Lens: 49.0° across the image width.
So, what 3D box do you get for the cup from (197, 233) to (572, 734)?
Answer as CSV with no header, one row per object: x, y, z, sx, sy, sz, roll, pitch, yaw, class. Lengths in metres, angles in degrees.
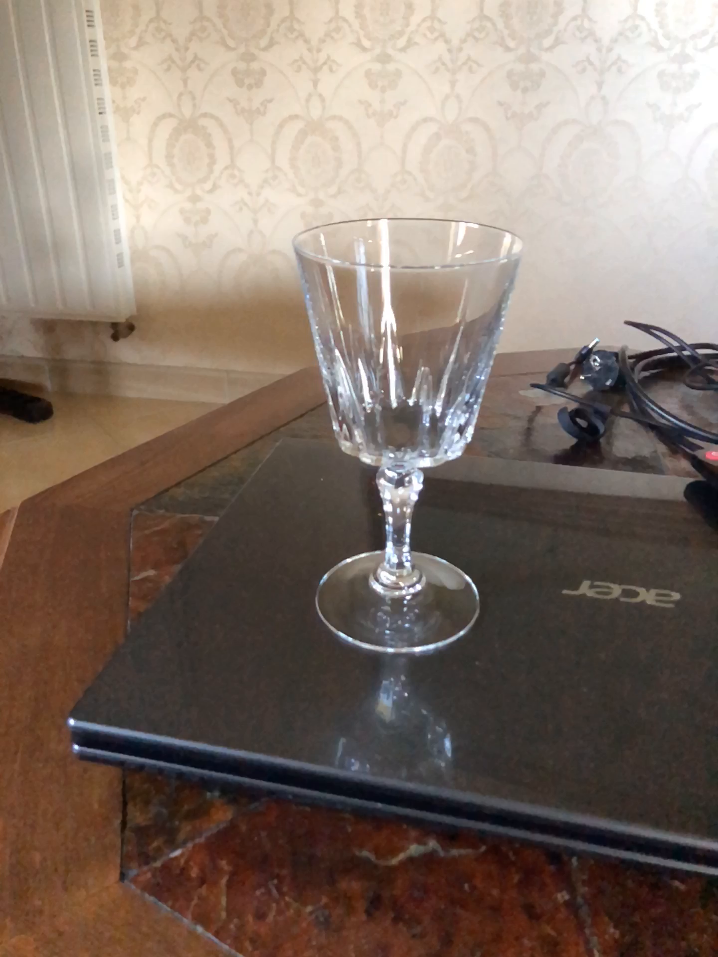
0.004,-0.006,0.320,0.100,0.159,0.100,0,26,0,cup
